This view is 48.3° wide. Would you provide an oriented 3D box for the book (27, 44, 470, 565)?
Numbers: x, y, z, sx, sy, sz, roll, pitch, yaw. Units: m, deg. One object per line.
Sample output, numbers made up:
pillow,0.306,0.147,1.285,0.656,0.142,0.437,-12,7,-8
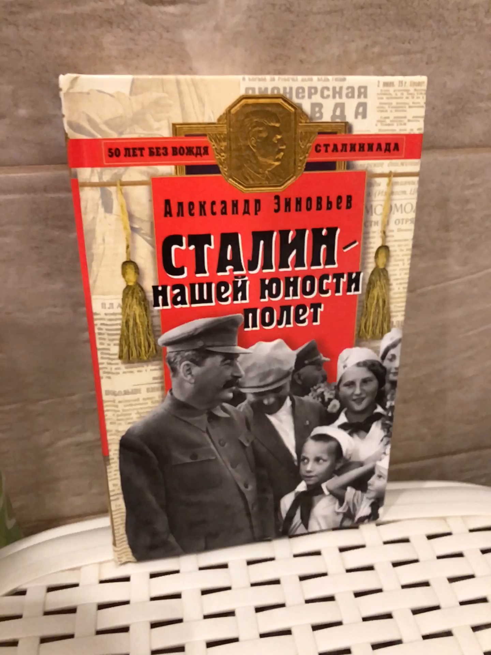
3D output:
book,0.004,-0.001,0.222,0.140,0.199,0.030,-4,23,-10
